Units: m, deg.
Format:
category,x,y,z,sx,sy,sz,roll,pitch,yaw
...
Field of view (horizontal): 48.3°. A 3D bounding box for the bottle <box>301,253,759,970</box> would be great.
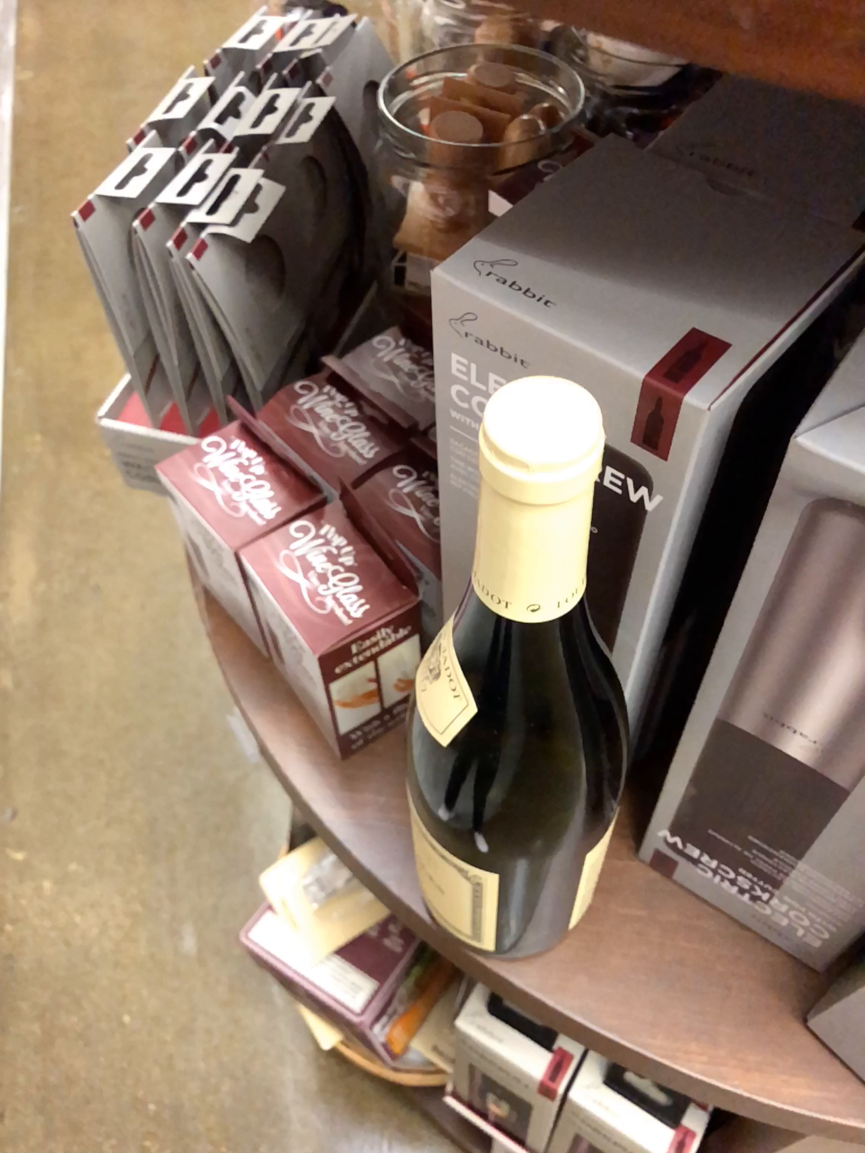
category,x,y,z,sx,sy,sz,roll,pitch,yaw
bottle,0.027,0.047,0.336,0.090,0.299,0.090,-2,52,2
